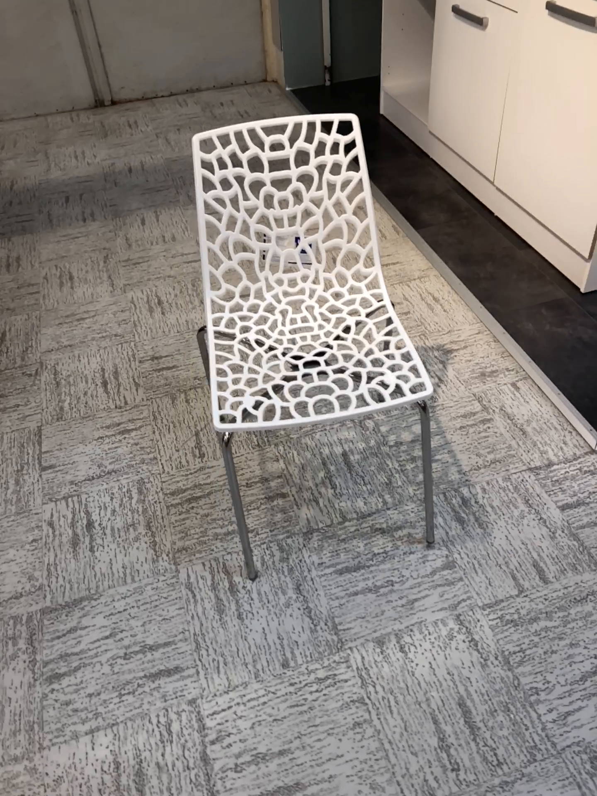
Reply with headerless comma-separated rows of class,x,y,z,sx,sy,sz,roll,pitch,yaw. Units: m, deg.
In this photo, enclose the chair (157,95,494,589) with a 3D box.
chair,0.024,-0.090,1.308,0.450,0.785,0.513,-8,42,-4
